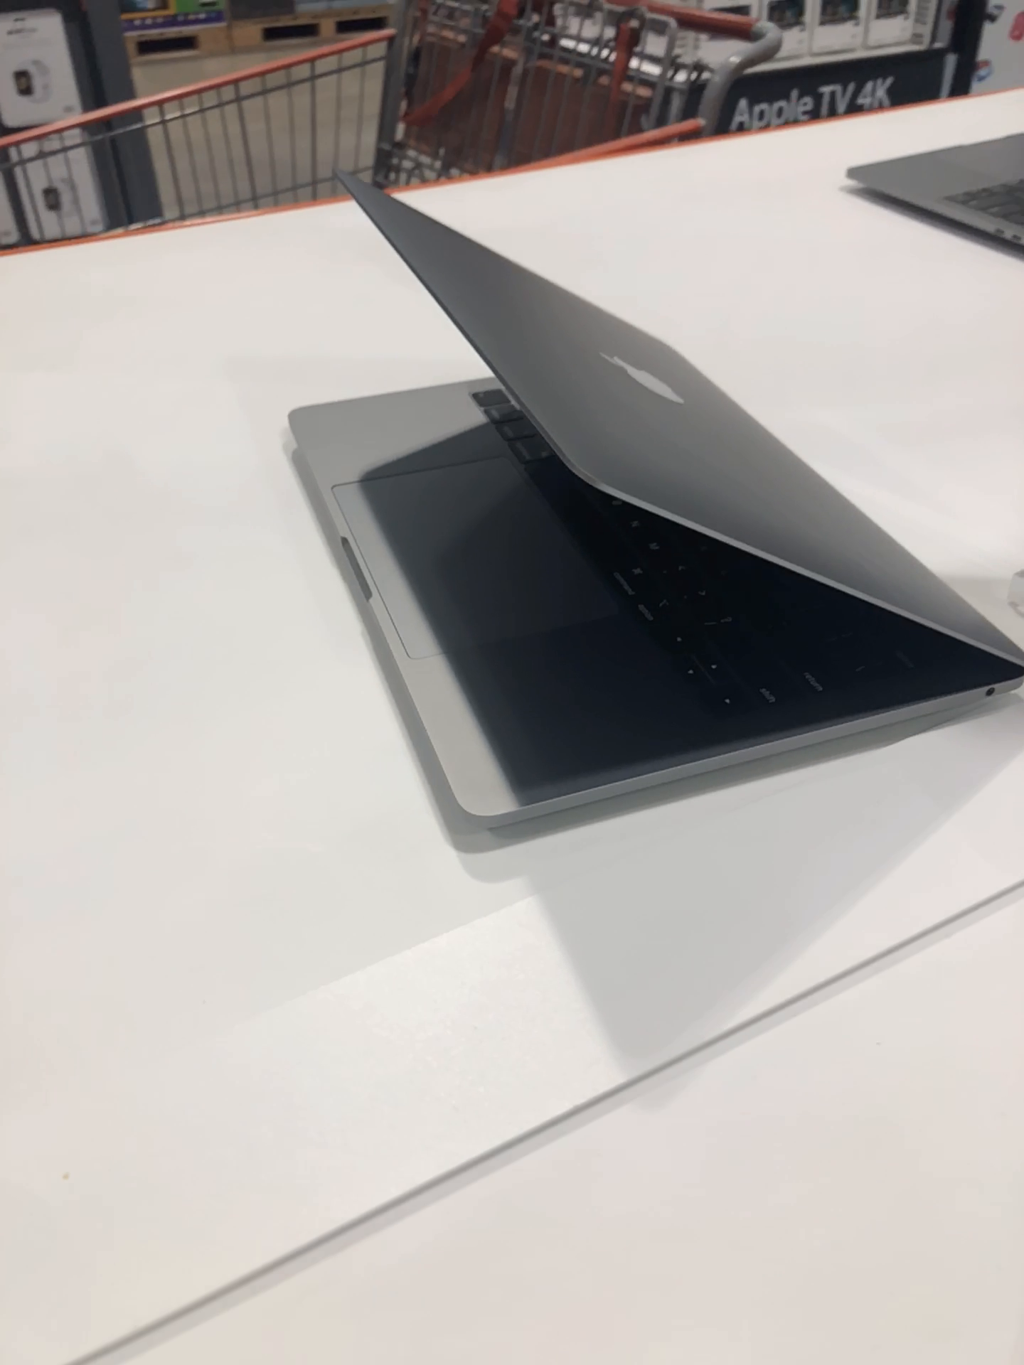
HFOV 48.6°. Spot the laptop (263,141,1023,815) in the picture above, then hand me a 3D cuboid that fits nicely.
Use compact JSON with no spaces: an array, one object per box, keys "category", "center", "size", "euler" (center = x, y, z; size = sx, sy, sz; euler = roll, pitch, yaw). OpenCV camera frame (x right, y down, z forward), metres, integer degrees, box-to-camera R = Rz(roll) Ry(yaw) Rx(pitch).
[{"category":"laptop","center":[0.035,-0.111,0.454],"size":[0.204,0.109,0.296],"euler":[-13,41,-14]}]
